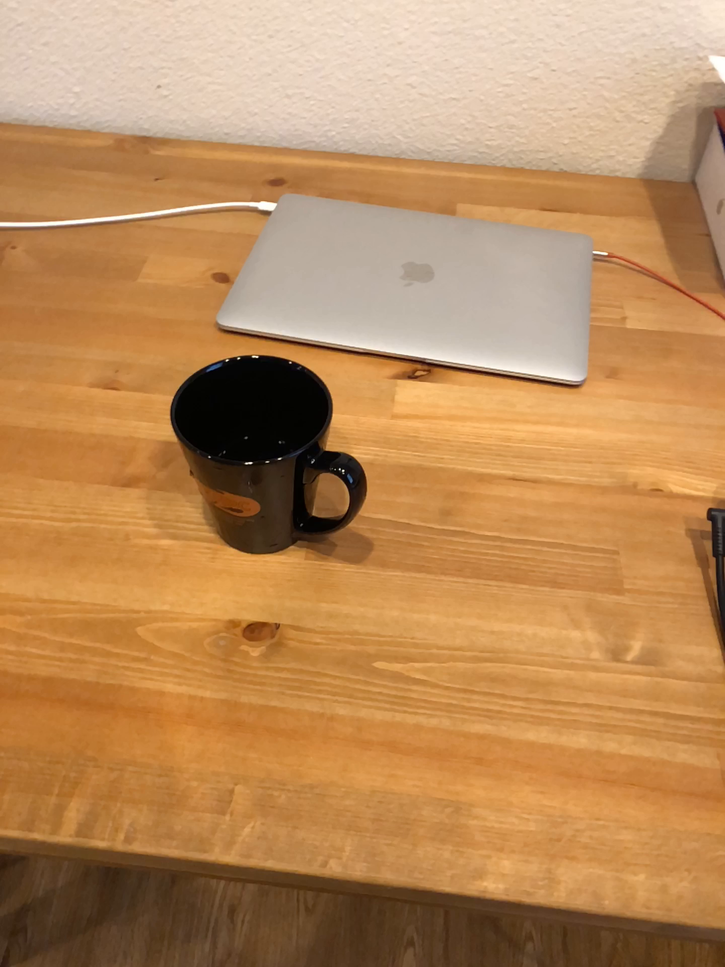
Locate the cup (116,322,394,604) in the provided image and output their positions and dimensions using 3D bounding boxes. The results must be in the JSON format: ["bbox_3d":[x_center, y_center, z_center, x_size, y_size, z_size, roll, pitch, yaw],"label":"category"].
[{"bbox_3d":[-0.059,-0.015,0.470,0.120,0.090,0.090,26,52,21],"label":"cup"}]
